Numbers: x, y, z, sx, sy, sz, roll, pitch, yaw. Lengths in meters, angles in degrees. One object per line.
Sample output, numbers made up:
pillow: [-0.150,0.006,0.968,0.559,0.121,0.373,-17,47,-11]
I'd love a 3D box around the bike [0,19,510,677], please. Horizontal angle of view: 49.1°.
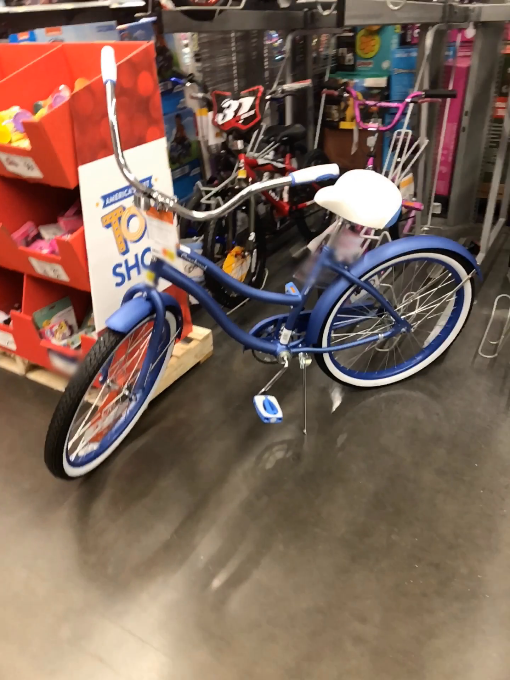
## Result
bike: [0.079,-0.142,1.516,1.354,1.113,0.861,-18,33,-19]
